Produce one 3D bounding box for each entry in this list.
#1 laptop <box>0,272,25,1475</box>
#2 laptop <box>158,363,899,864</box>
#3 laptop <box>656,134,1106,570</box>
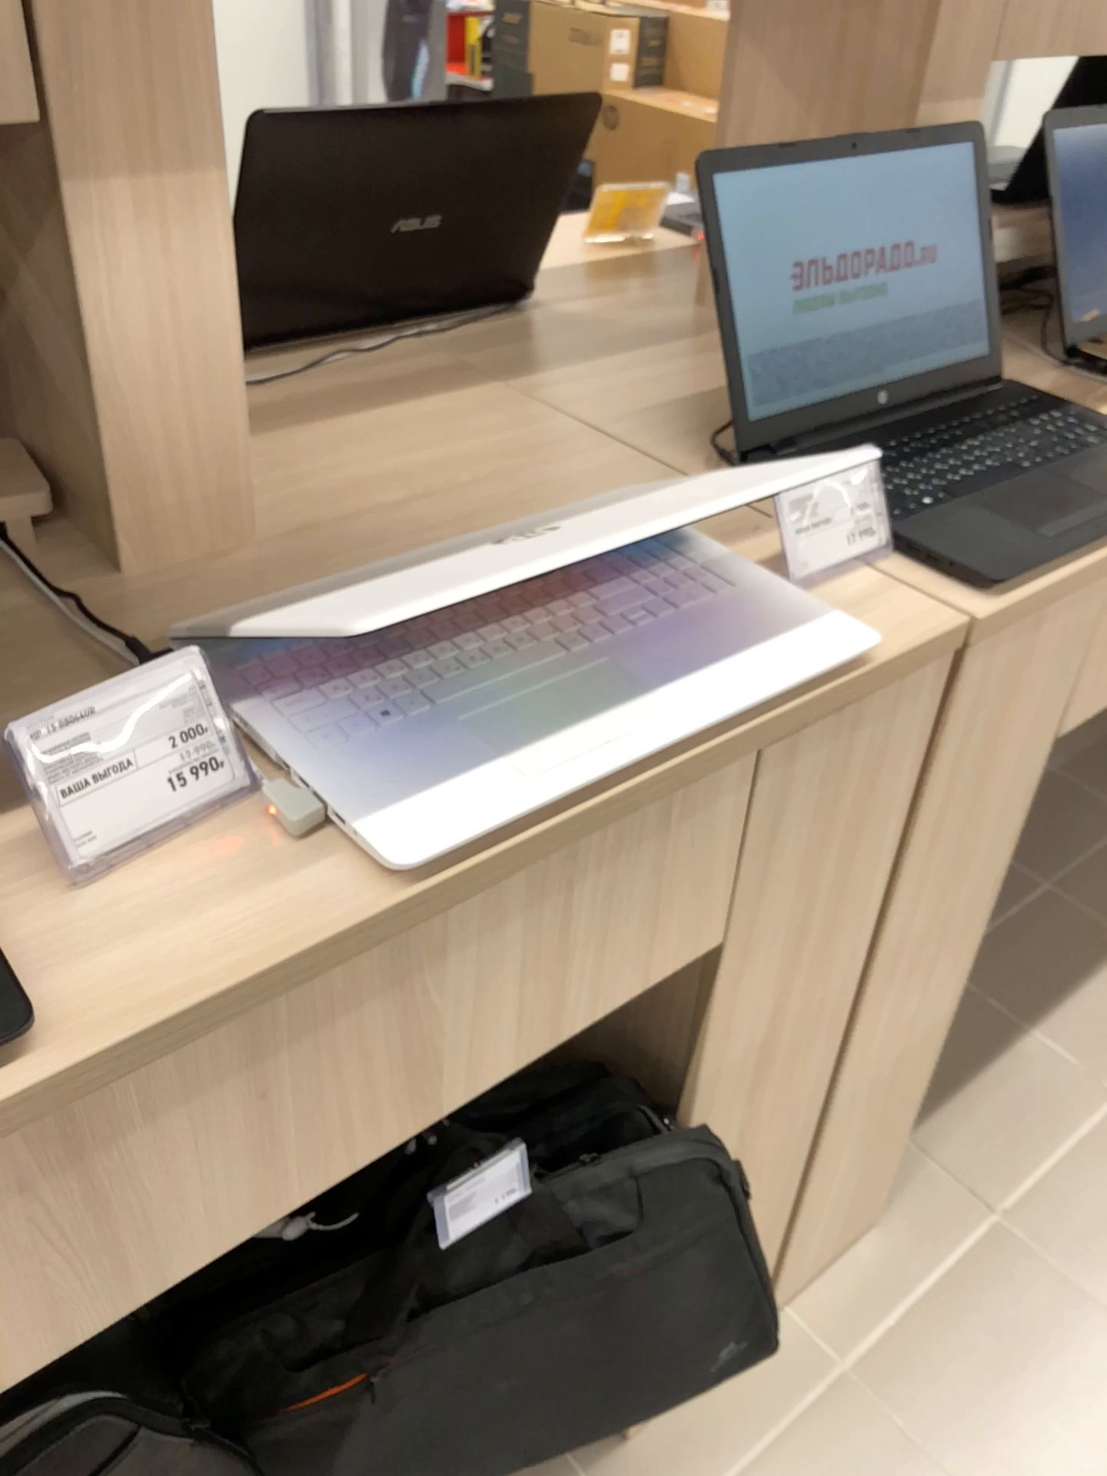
[{"bbox_3d":[-0.482,-0.001,0.447,0.387,0.203,0.368,-22,43,-34],"label":"laptop"},{"bbox_3d":[-0.007,-0.103,0.736,0.369,0.103,0.232,-23,46,-33],"label":"laptop"},{"bbox_3d":[0.355,-0.352,1.027,0.392,0.219,0.350,-23,43,-35],"label":"laptop"}]
